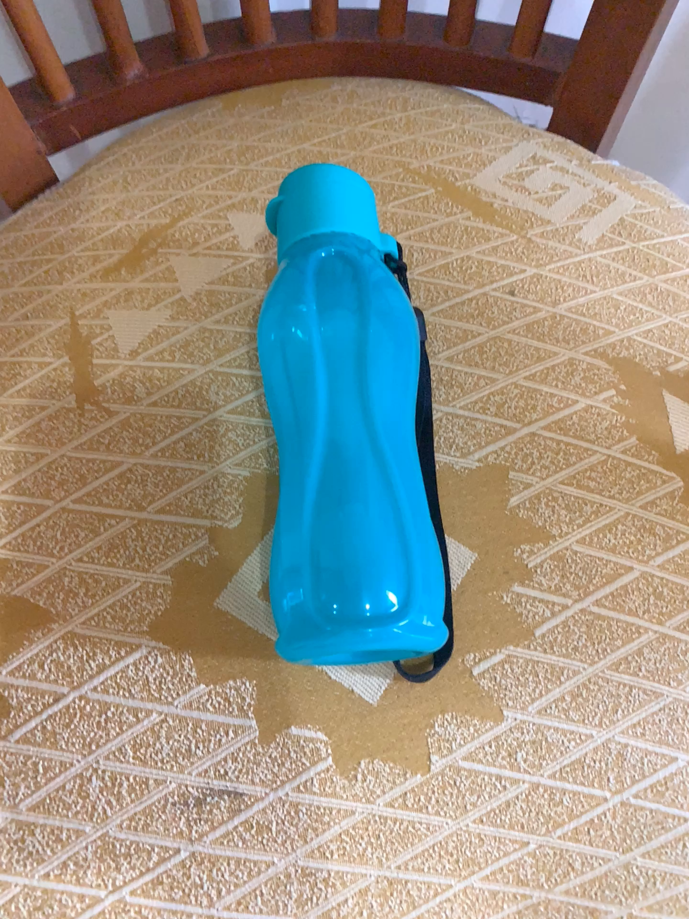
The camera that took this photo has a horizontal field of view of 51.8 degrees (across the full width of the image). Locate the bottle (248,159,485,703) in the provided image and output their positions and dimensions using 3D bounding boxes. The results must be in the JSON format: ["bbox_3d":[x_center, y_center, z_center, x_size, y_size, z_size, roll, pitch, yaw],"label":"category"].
[{"bbox_3d":[0.002,-0.016,0.268,0.070,0.050,0.200,-2,69,-2],"label":"bottle"}]
